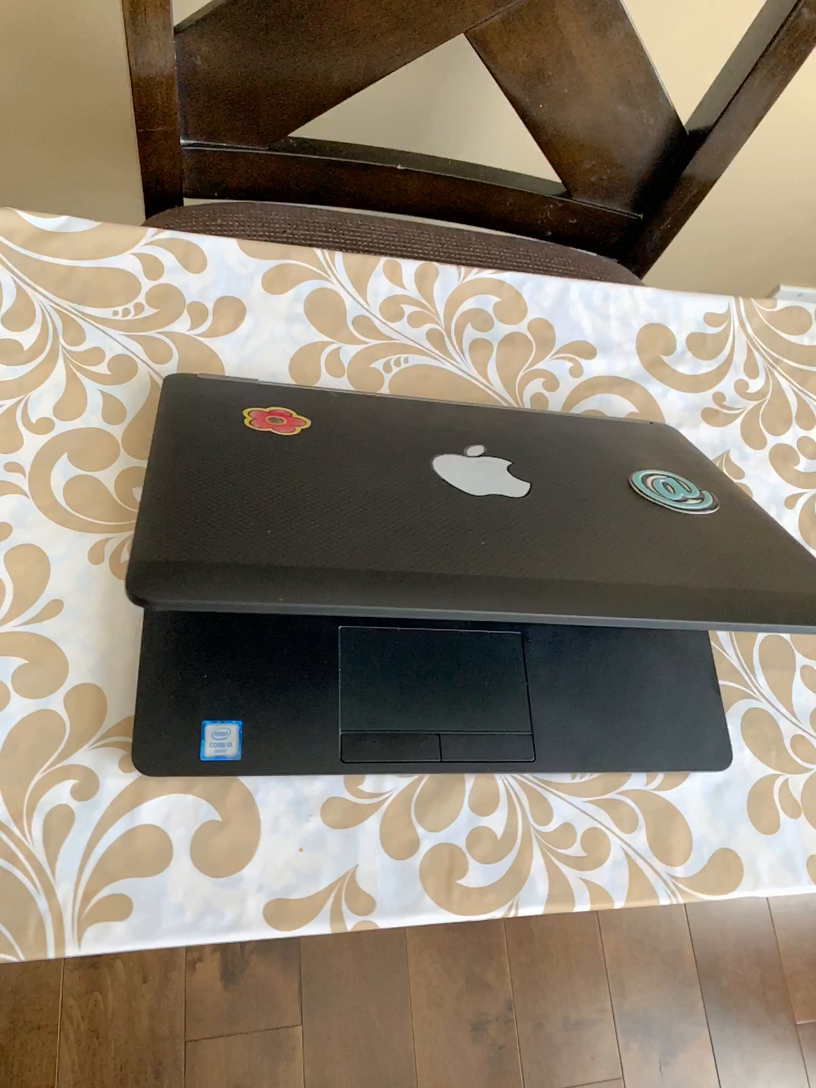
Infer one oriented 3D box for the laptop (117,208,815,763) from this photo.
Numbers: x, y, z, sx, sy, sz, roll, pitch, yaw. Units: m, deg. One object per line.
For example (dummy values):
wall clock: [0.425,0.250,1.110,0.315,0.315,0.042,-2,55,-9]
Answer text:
laptop: [0.036,-0.009,0.388,0.300,0.127,0.199,4,66,-15]
